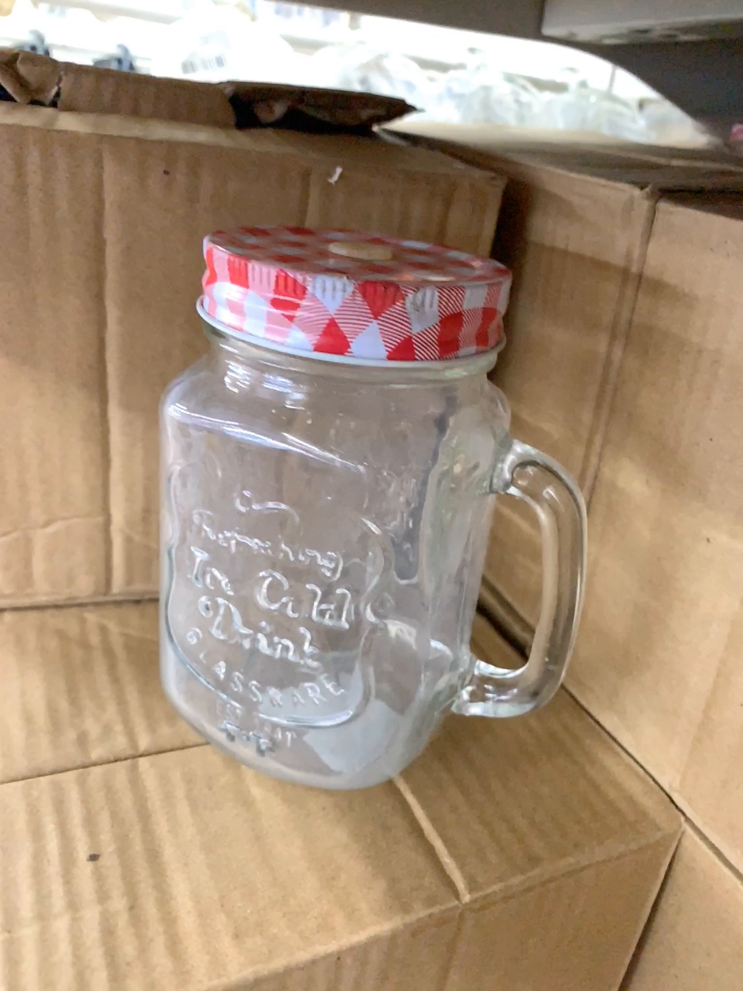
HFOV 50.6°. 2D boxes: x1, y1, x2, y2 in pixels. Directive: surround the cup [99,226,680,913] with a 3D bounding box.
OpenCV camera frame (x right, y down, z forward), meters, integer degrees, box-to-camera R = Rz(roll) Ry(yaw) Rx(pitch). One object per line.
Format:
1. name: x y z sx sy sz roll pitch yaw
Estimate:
1. cup: 0.002 0.004 0.191 0.100 0.119 0.080 18 24 25
